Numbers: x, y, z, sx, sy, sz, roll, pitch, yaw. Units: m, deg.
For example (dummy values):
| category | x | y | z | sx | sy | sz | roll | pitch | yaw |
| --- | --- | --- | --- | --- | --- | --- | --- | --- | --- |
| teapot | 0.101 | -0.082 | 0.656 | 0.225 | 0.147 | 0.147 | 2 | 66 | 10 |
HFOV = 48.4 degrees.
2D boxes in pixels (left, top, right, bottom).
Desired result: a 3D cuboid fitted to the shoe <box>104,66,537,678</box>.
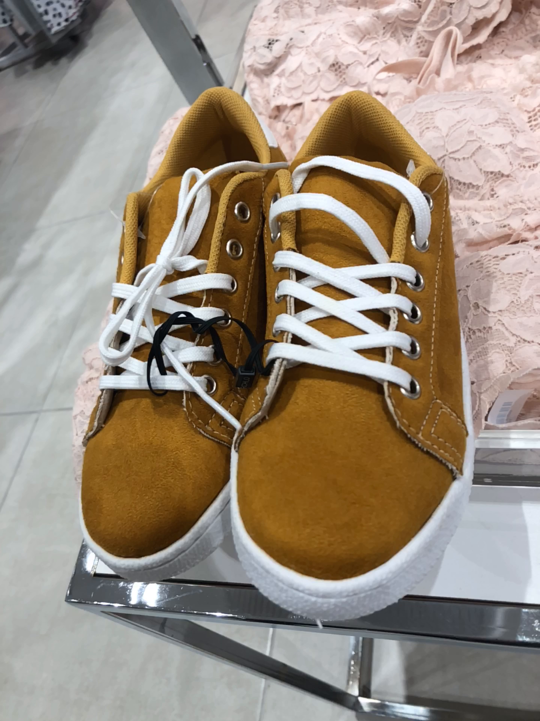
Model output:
| category | x | y | z | sx | sy | sz | roll | pitch | yaw |
| --- | --- | --- | --- | --- | --- | --- | --- | --- | --- |
| shoe | 0.034 | -0.019 | 0.253 | 0.100 | 0.099 | 0.241 | 2 | 48 | 12 |

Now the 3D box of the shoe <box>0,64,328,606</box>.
| category | x | y | z | sx | sy | sz | roll | pitch | yaw |
| --- | --- | --- | --- | --- | --- | --- | --- | --- | --- |
| shoe | -0.035 | -0.029 | 0.286 | 0.090 | 0.099 | 0.241 | 3 | 53 | 13 |
